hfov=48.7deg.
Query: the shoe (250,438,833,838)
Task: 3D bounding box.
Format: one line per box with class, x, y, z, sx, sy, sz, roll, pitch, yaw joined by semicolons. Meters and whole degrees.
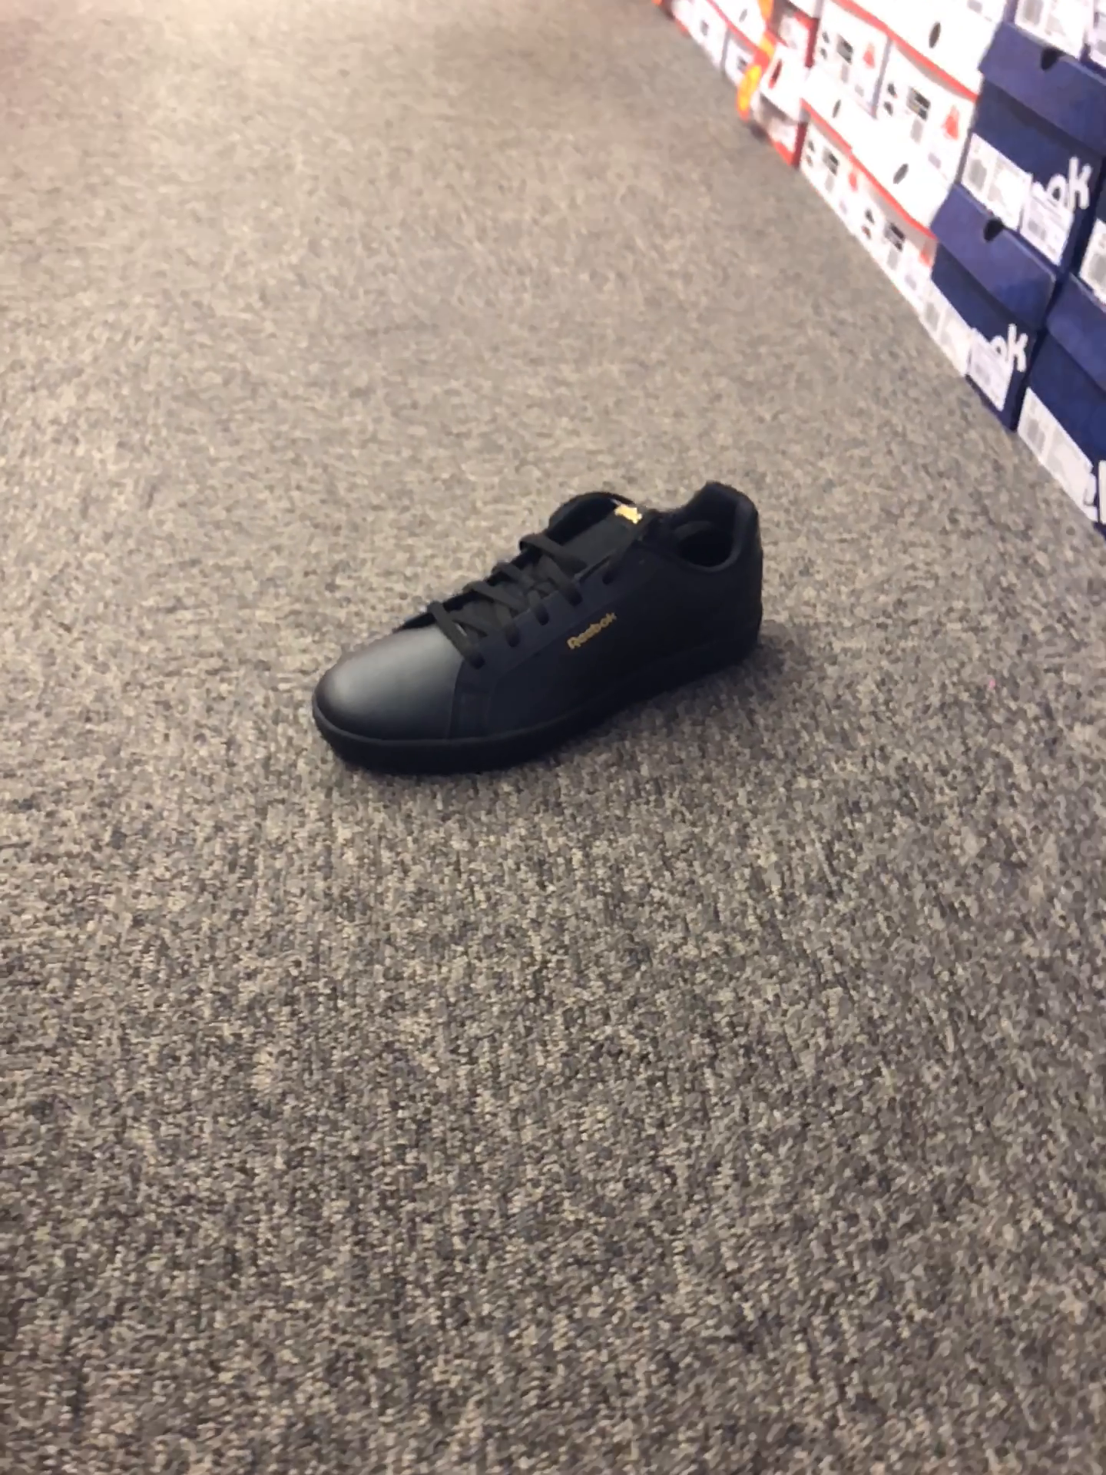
shoe;-0.002;-0.057;0.610;0.261;0.089;0.098;-19;46;-19
